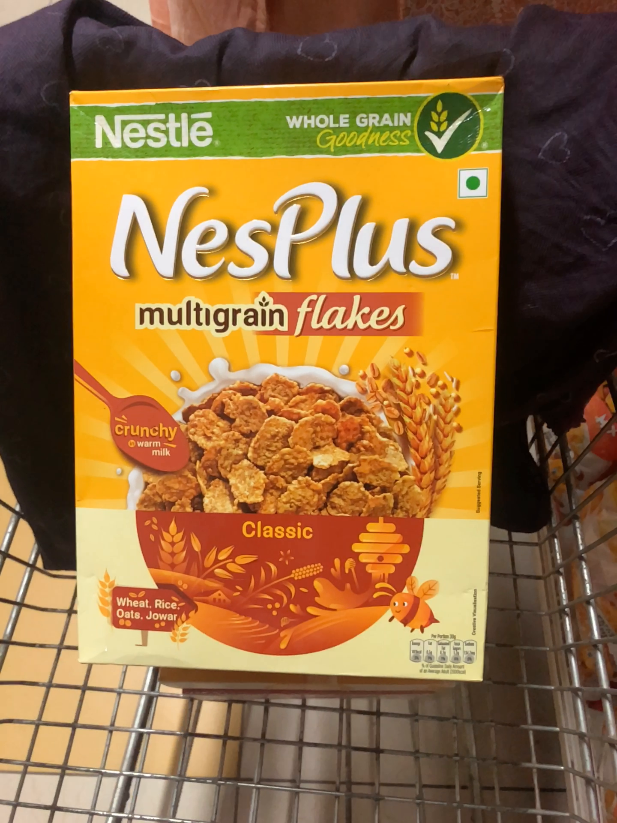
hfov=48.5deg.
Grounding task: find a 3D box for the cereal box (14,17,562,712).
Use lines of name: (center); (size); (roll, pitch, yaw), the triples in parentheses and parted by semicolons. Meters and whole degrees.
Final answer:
cereal box: (-0.009, -0.015, 0.299); (0.190, 0.080, 0.260); (1, 100, 2)
